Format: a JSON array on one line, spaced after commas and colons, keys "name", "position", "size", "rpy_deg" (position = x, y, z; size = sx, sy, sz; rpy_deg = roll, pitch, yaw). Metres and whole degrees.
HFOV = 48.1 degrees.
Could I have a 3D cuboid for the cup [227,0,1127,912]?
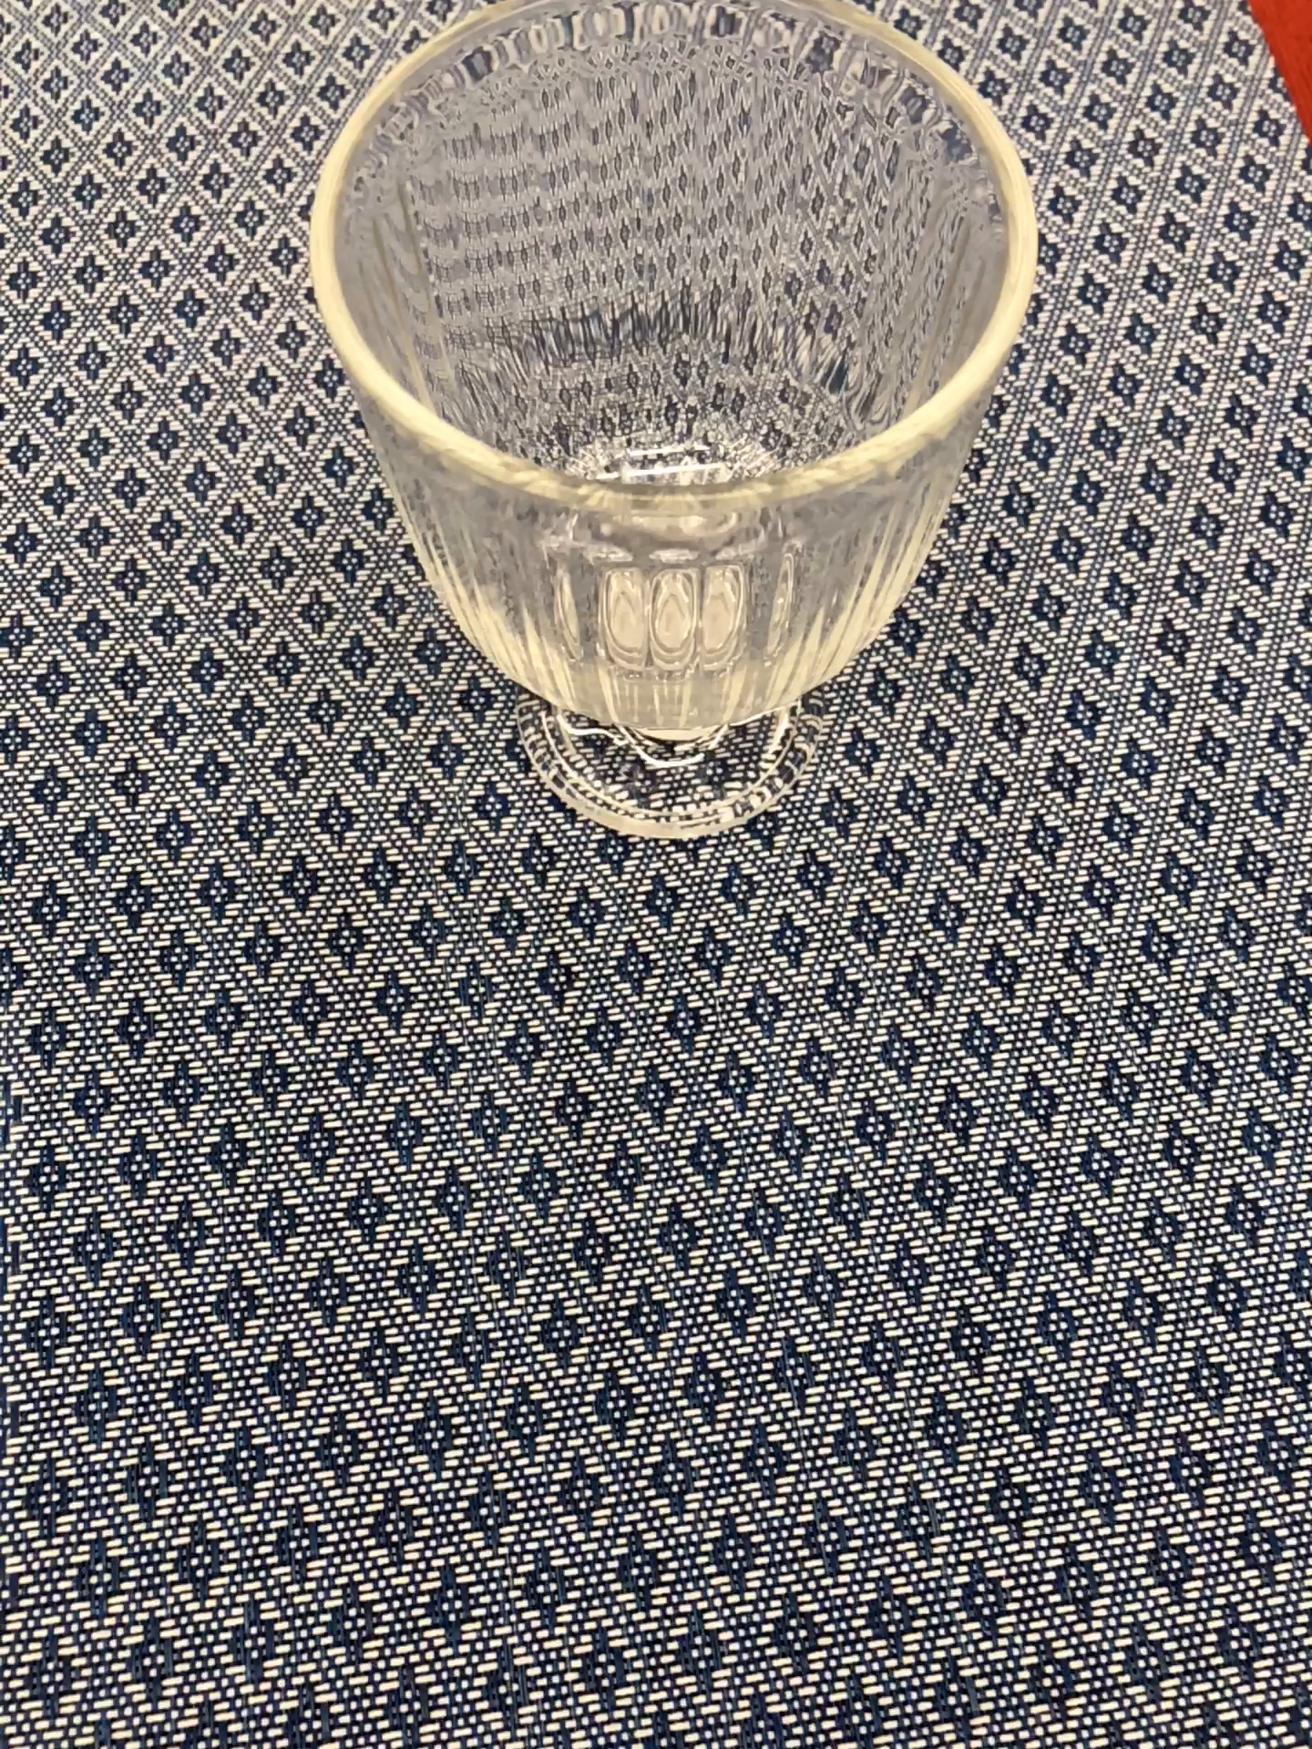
[{"name": "cup", "position": [0.009, -0.067, 0.233], "size": [0.100, 0.110, 0.100], "rpy_deg": [-1, 65, 1]}]
